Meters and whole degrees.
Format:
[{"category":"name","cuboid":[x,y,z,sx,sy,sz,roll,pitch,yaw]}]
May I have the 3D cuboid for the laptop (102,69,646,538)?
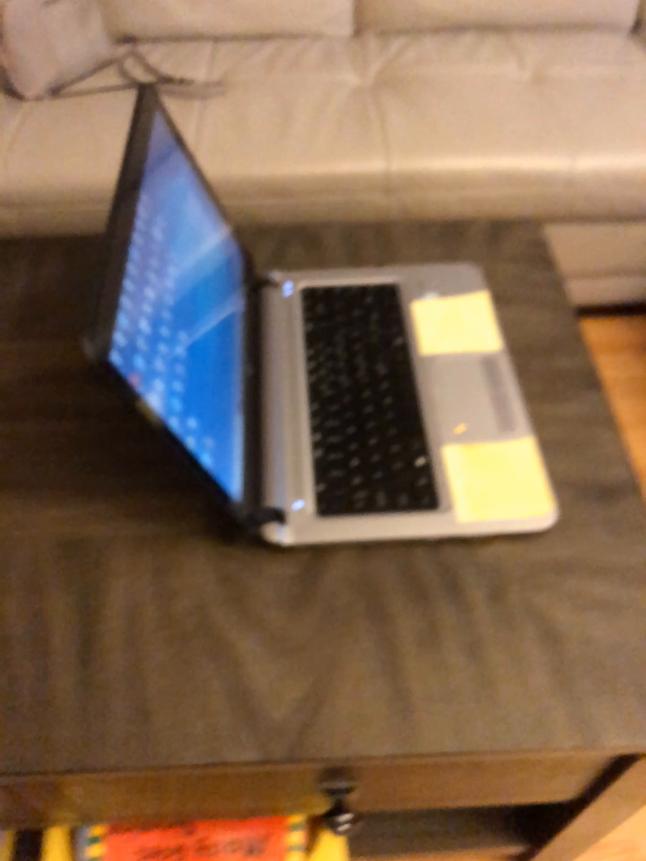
[{"category":"laptop","cuboid":[0.024,-0.112,0.592,0.312,0.203,0.317,-4,50,-1]}]
